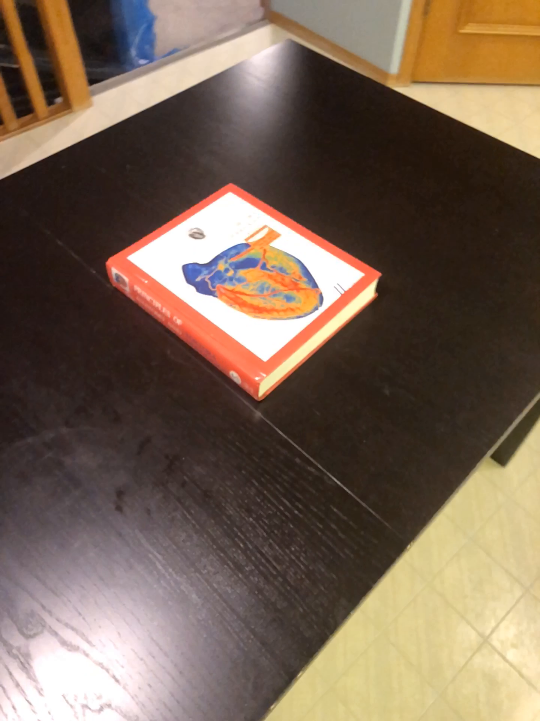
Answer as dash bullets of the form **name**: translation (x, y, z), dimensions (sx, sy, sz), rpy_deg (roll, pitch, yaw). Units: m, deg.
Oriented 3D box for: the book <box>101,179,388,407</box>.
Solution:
- **book**: translation (-0.035, -0.110, 0.822), dimensions (0.291, 0.050, 0.250), rpy_deg (36, 60, 24)
